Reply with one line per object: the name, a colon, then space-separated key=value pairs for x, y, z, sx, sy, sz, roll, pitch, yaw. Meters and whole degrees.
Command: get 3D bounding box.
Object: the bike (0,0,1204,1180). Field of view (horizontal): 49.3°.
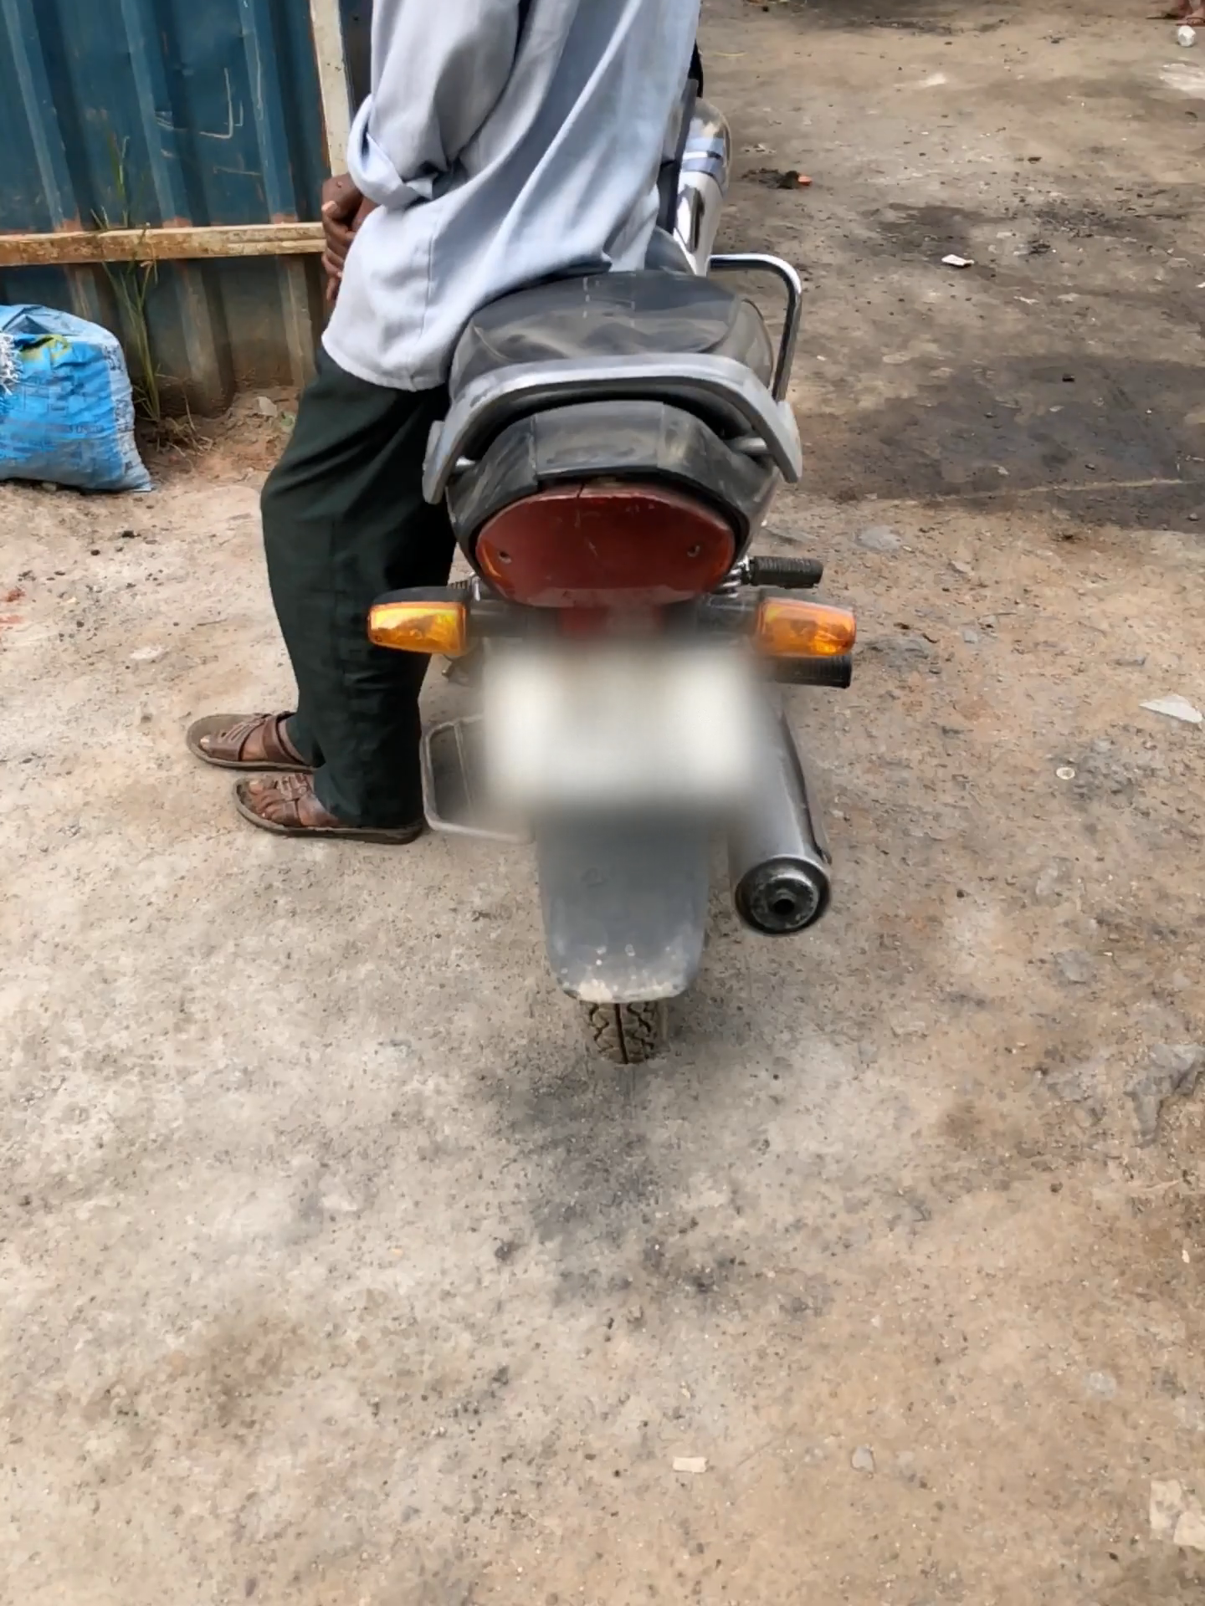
bike: x=-0.049 y=-0.629 z=1.768 sx=0.784 sy=1.154 sz=1.811 roll=-2 pitch=39 yaw=-2
